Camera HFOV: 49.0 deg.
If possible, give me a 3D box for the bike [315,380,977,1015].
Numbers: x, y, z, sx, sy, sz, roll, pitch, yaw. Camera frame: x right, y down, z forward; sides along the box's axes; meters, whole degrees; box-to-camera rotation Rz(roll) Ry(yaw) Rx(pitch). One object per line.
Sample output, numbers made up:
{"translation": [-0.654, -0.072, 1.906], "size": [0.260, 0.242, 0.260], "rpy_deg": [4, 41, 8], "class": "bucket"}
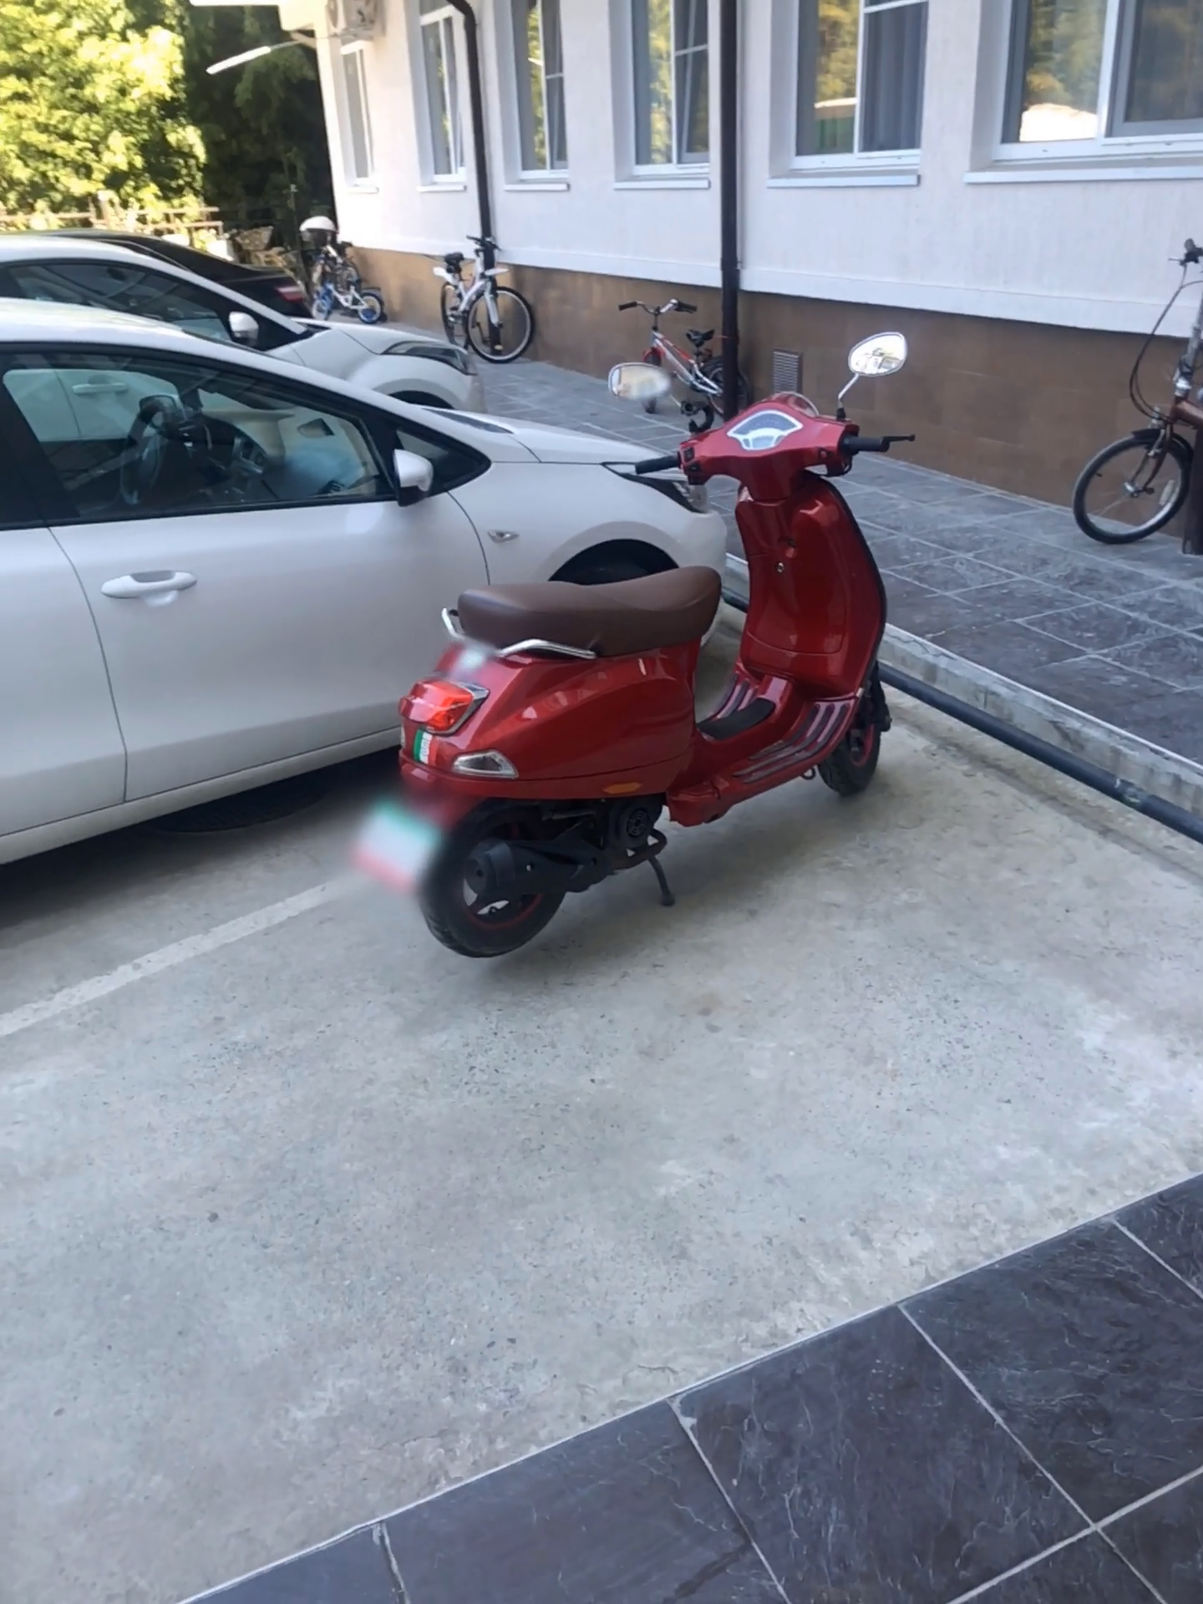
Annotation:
{"translation": [0.193, -0.362, 3.117], "size": [1.596, 0.950, 0.536], "rpy_deg": [-25, 33, -38], "class": "bike"}
